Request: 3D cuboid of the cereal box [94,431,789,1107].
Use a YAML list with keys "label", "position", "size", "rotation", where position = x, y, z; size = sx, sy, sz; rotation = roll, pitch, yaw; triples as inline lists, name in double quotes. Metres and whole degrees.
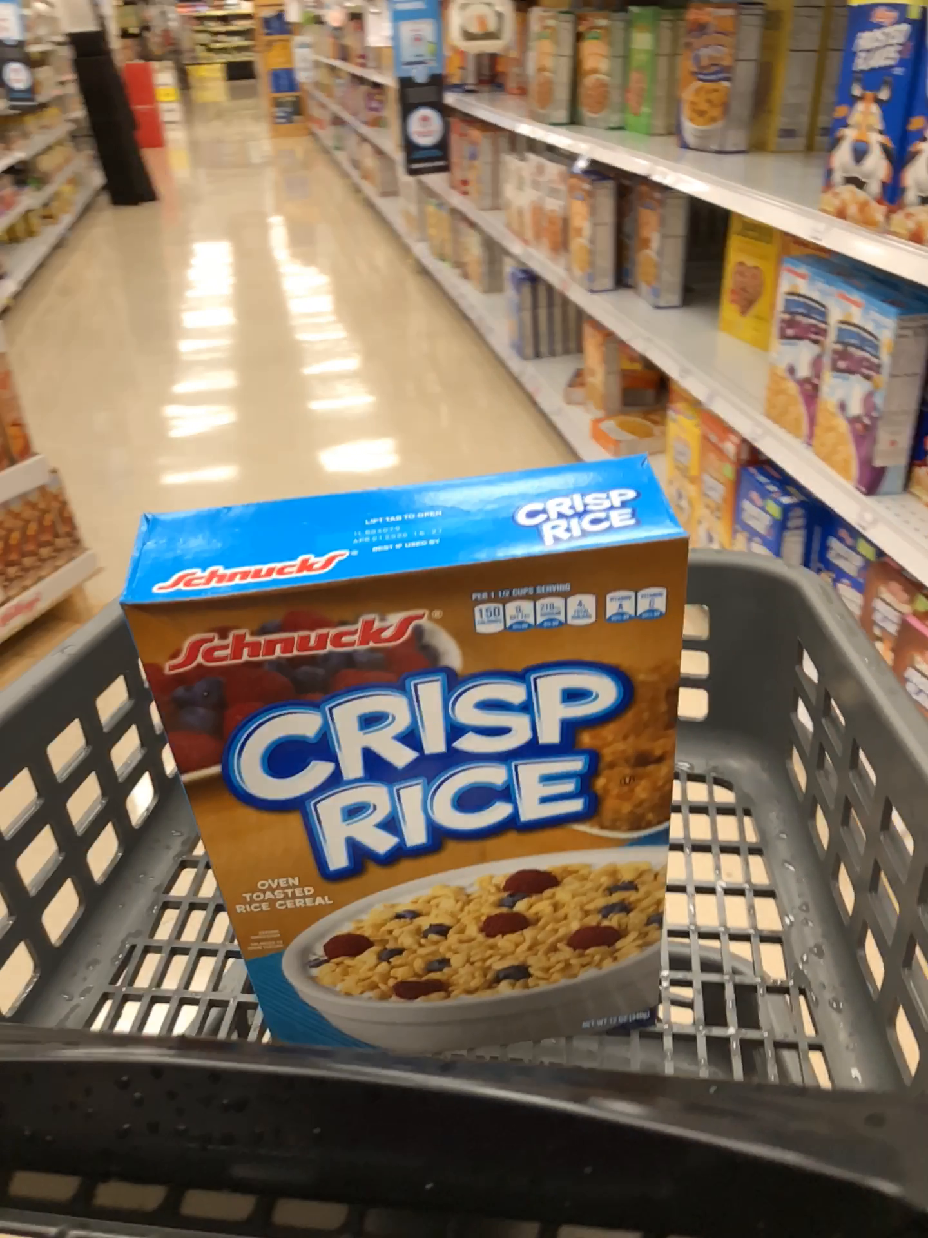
- label: "cereal box"
  position: [0.000, 0.082, 0.435]
  size: [0.220, 0.299, 0.060]
  rotation: [-7, 37, -4]
